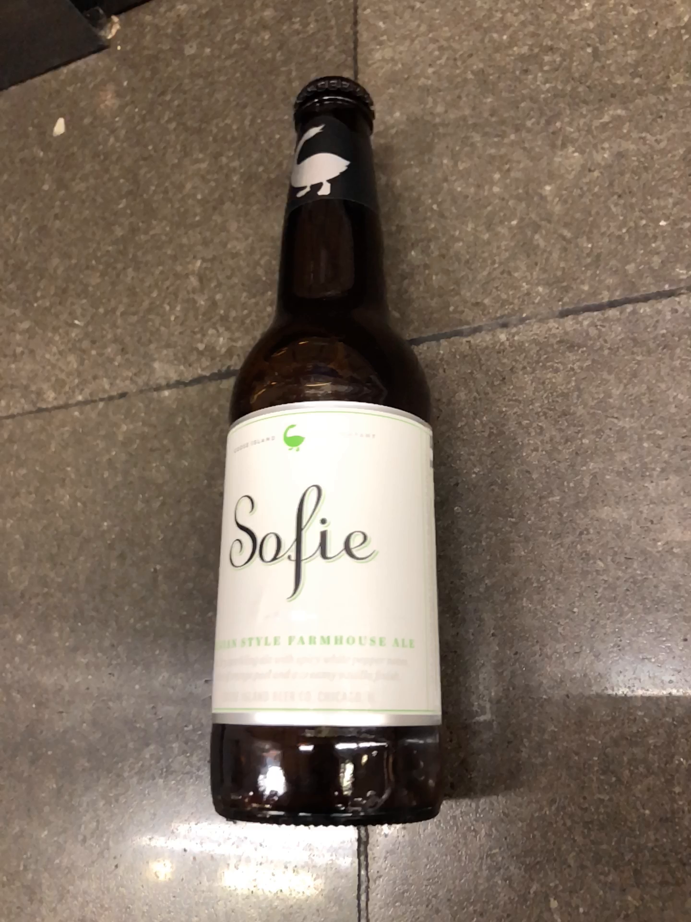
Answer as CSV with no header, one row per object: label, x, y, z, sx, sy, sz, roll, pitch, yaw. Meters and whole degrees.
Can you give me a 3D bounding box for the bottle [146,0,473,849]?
bottle,-0.009,-0.023,0.230,0.070,0.040,0.240,-9,69,22
